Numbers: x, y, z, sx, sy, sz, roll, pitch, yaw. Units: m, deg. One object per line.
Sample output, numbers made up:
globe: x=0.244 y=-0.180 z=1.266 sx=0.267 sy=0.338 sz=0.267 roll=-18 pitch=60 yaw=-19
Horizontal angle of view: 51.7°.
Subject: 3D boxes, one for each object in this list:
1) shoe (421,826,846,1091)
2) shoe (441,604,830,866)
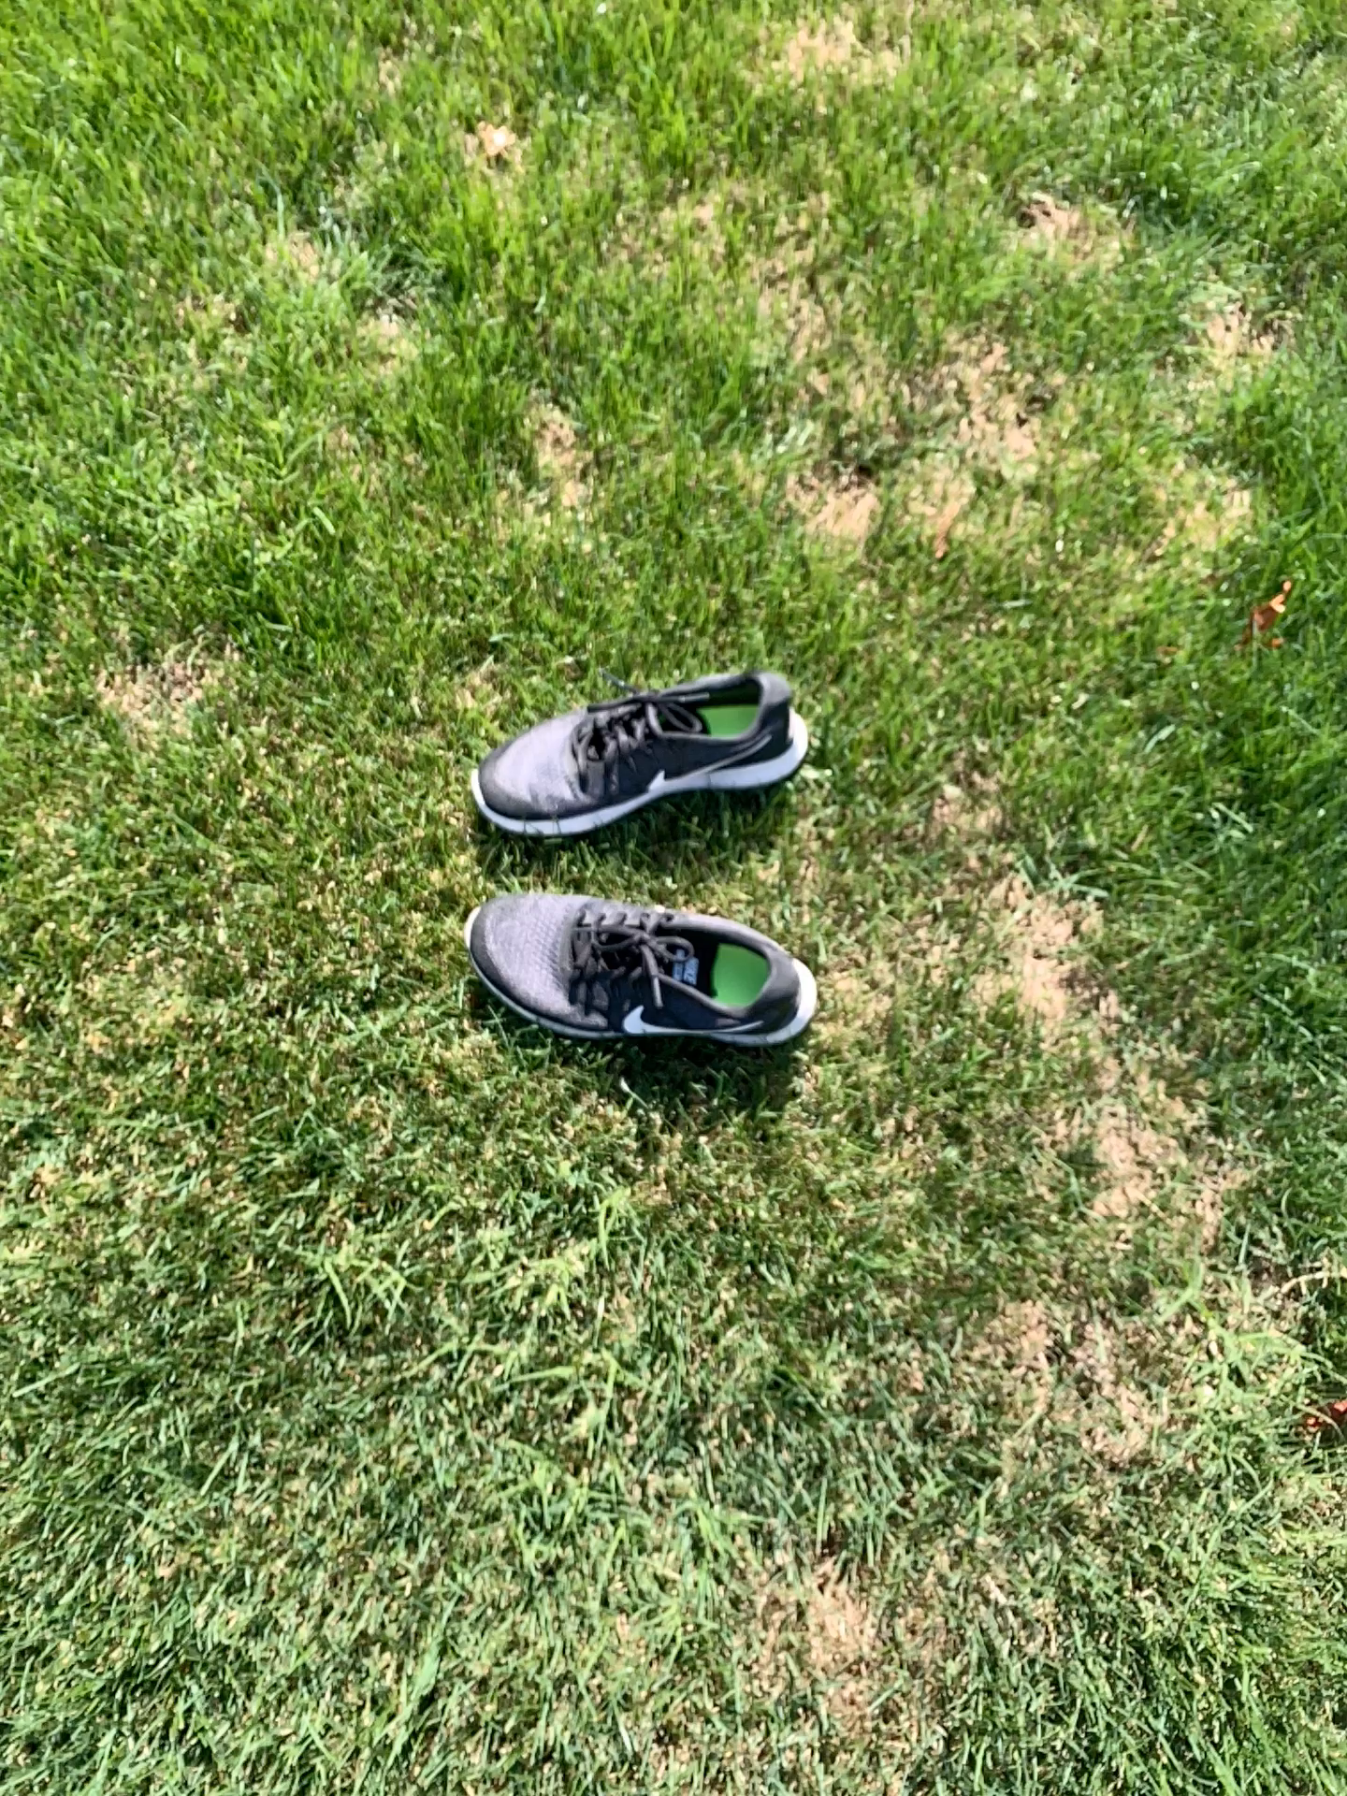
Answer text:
shoe: x=-0.027 y=0.048 z=1.032 sx=0.280 sy=0.130 sz=0.100 roll=14 pitch=72 yaw=5
shoe: x=-0.029 y=-0.124 z=1.086 sx=0.270 sy=0.130 sz=0.100 roll=-13 pitch=72 yaw=-5
